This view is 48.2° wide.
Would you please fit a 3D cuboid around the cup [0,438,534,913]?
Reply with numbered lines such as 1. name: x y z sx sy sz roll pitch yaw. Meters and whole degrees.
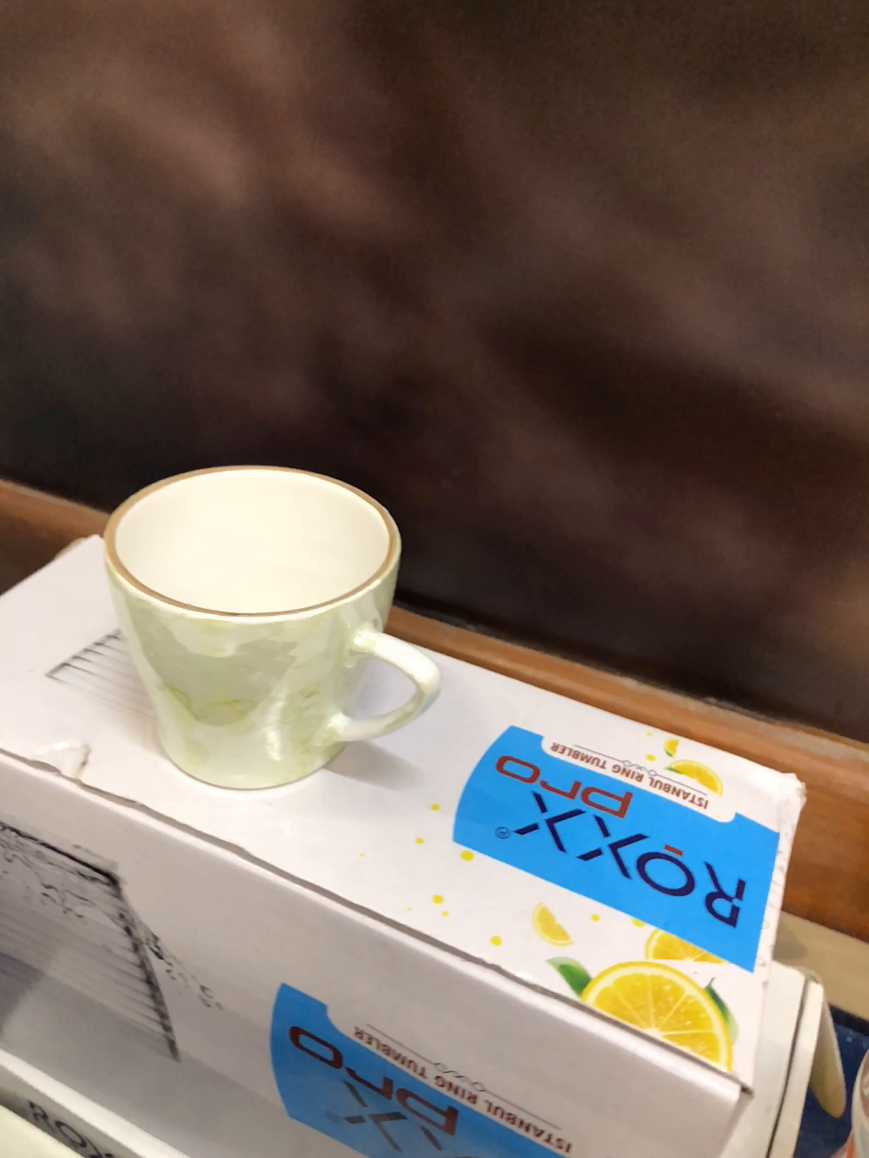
1. cup: -0.037 0.018 0.240 0.100 0.060 0.070 17 36 15
